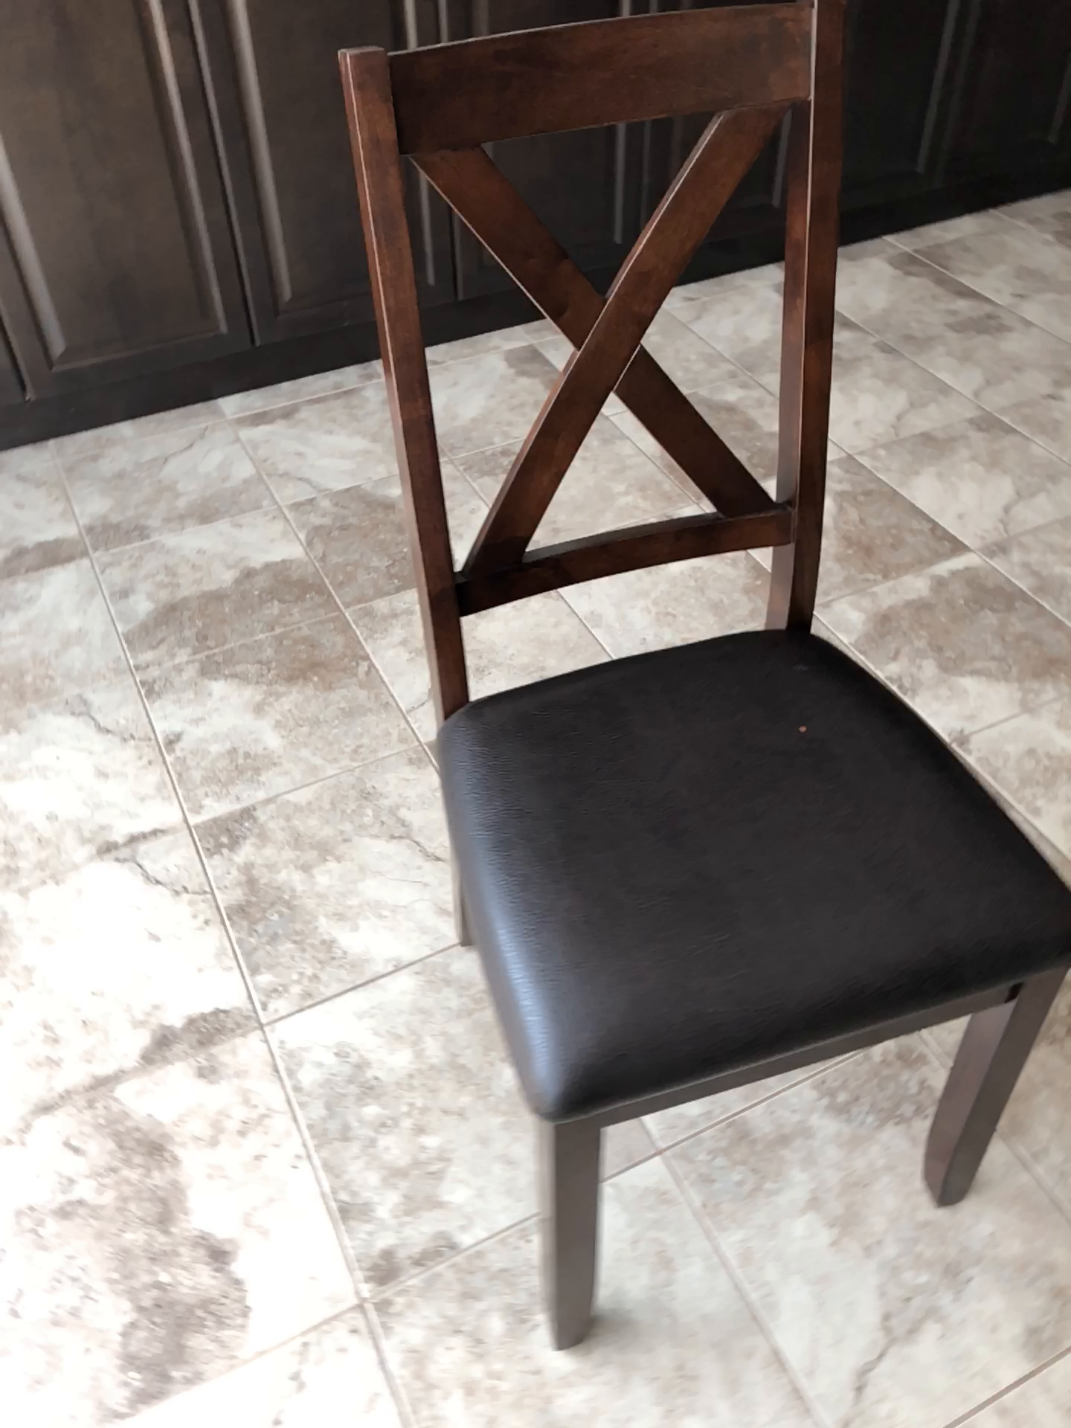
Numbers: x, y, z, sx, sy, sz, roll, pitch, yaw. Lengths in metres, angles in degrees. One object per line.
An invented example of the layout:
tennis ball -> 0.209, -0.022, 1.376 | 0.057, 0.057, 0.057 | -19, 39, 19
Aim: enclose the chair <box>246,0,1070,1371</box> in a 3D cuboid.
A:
chair -> 0.128, -0.006, 0.980 | 0.480, 0.936, 0.602 | -13, 45, -12
